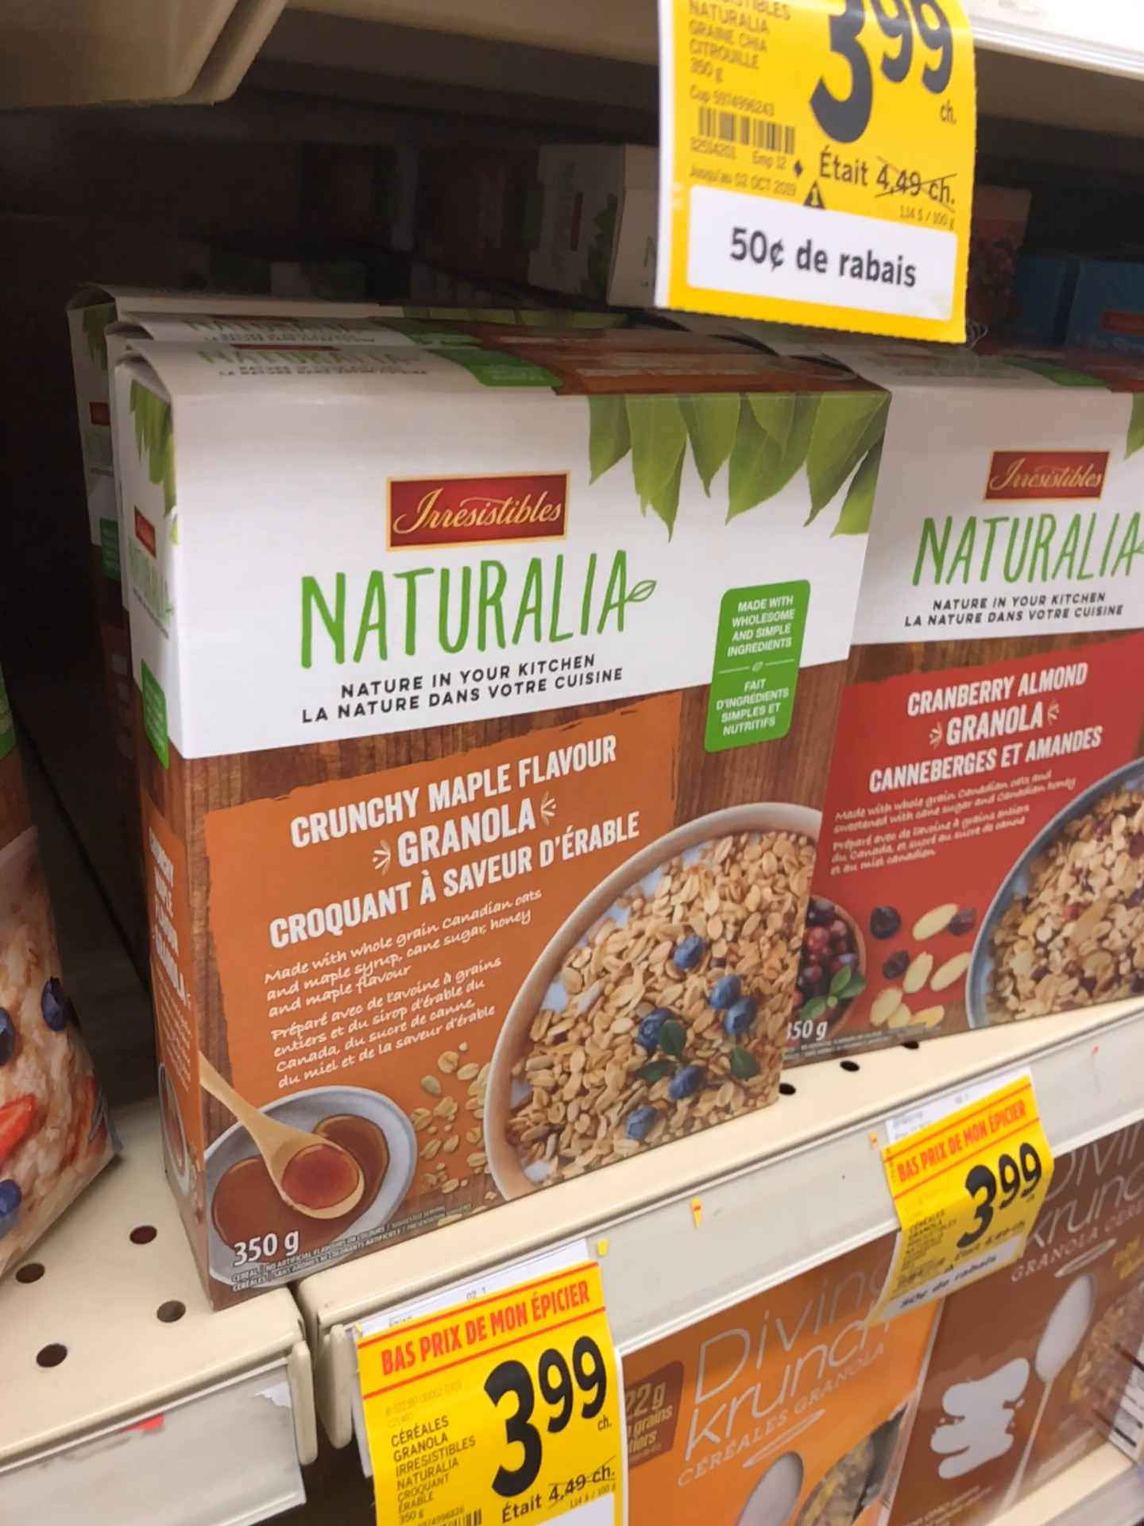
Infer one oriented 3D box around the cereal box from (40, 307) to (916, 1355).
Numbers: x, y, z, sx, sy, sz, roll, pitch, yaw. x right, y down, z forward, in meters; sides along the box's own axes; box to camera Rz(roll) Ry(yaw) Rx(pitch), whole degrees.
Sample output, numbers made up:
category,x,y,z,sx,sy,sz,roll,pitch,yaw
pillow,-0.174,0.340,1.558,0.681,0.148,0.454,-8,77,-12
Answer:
category,x,y,z,sx,sy,sz,roll,pitch,yaw
cereal box,-0.020,0.010,0.295,0.170,0.209,0.050,-10,28,-30
